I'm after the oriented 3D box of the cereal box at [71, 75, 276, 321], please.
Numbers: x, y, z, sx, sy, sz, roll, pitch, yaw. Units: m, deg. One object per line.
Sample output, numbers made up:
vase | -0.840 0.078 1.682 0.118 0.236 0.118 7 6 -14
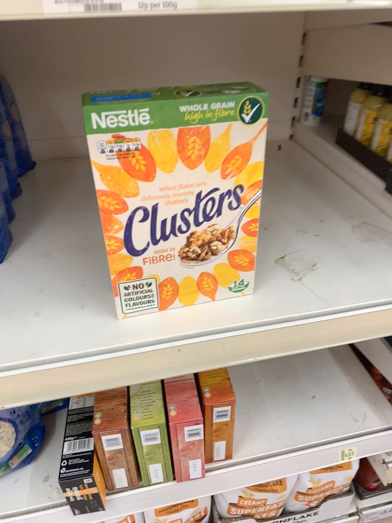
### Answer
cereal box | -0.022 -0.067 0.481 0.200 0.267 0.061 -10 35 -13
